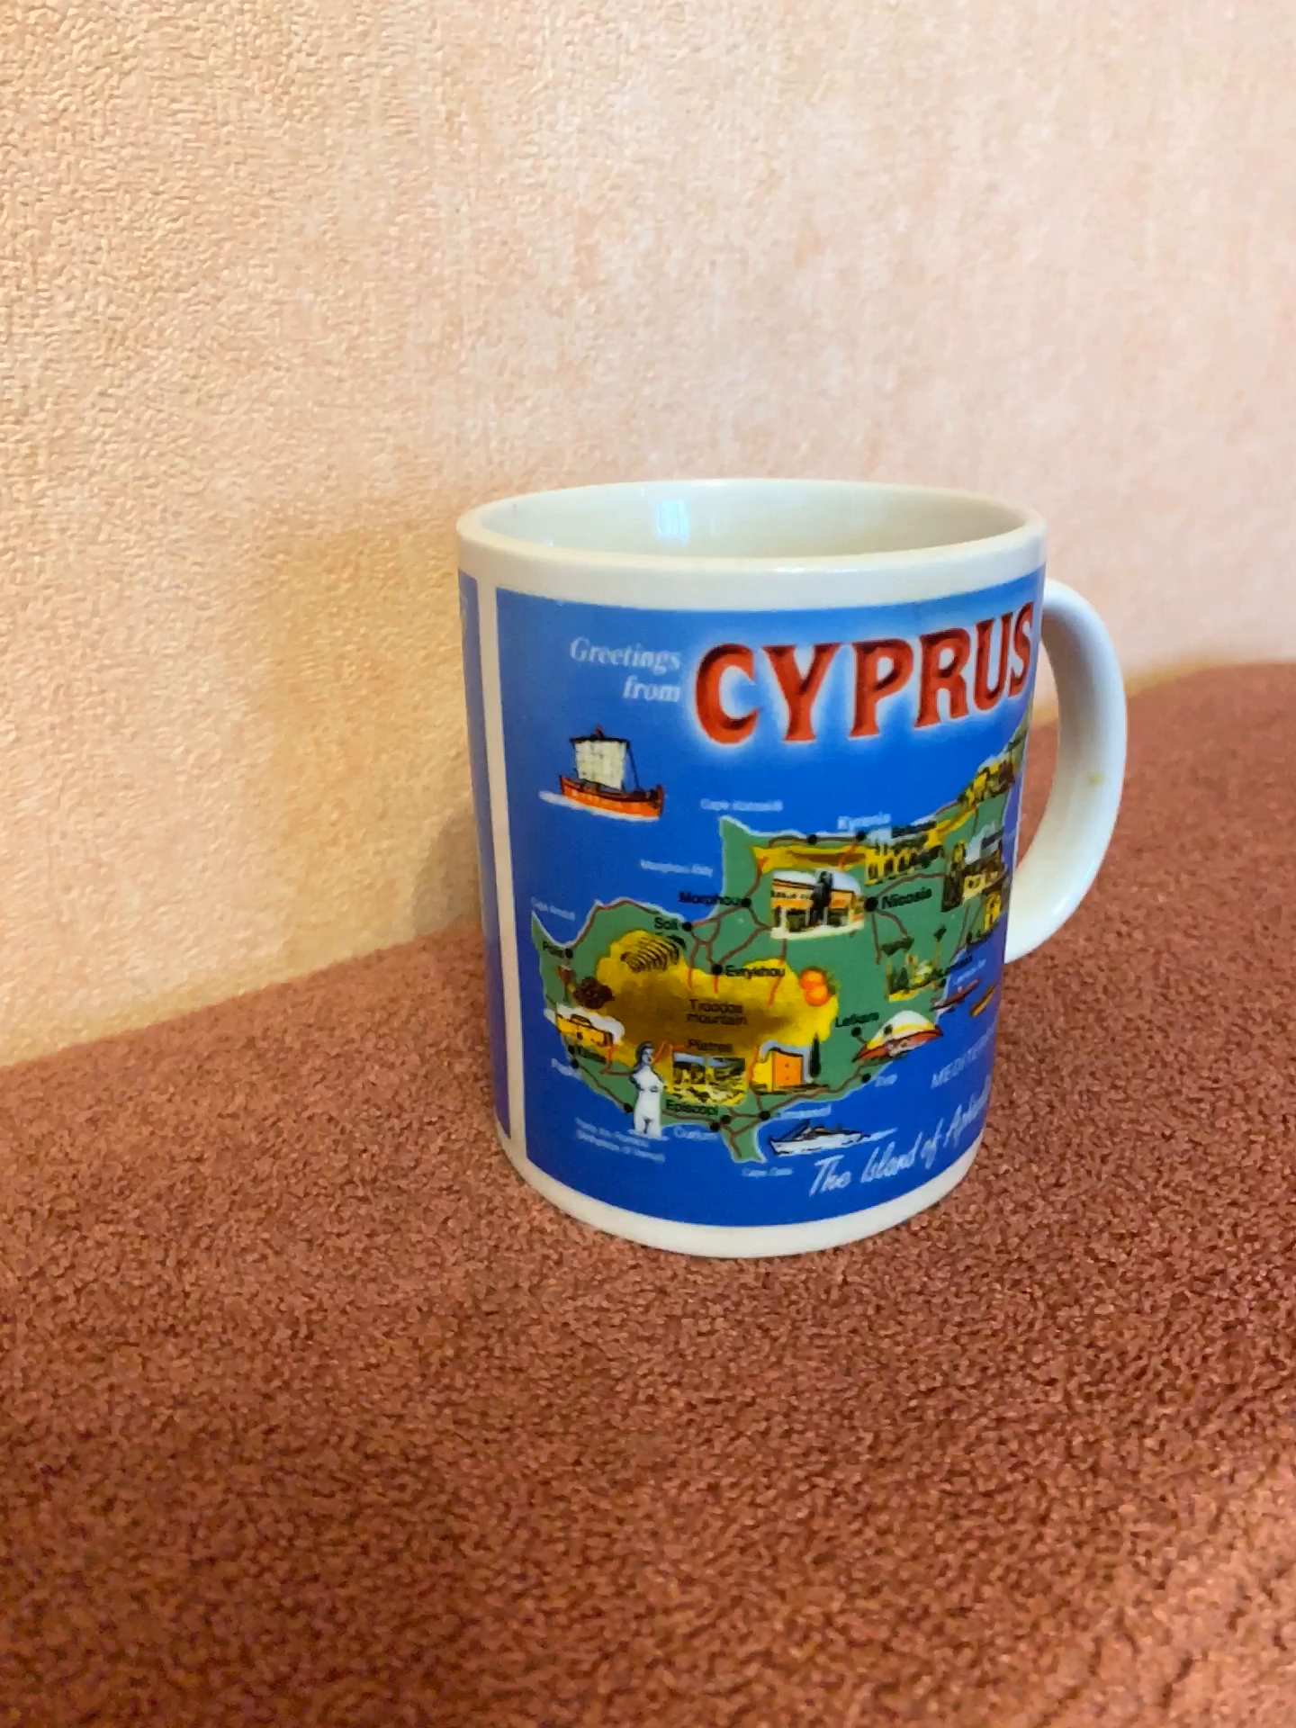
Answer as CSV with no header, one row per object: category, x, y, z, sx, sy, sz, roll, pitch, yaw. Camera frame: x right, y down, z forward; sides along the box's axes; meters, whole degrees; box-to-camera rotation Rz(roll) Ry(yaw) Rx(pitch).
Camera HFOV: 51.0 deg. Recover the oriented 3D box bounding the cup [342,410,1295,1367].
cup,0.031,-0.012,0.201,0.119,0.091,0.085,-16,28,-30
